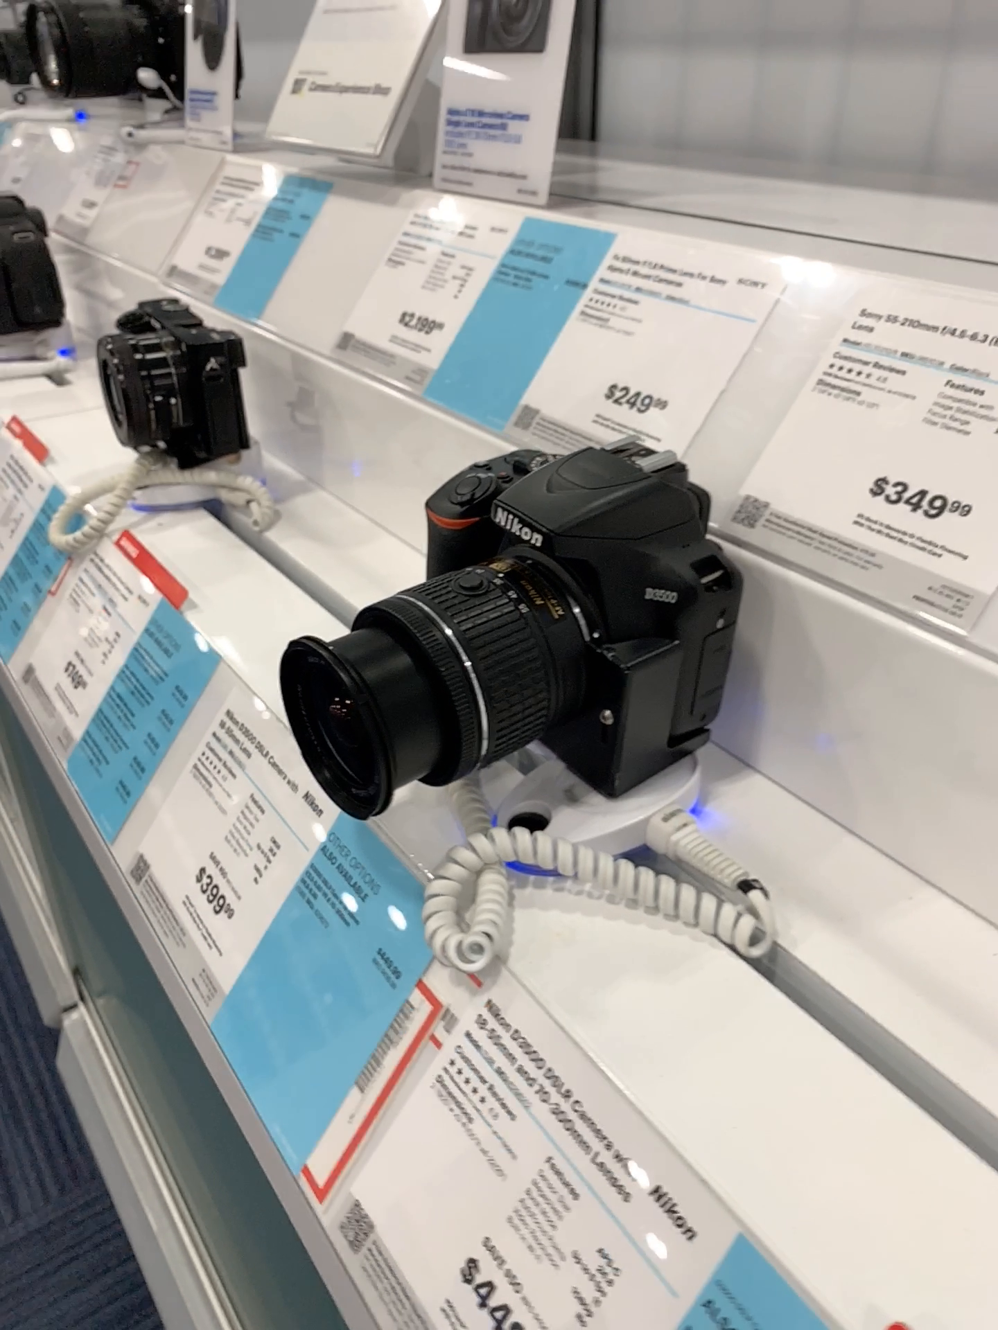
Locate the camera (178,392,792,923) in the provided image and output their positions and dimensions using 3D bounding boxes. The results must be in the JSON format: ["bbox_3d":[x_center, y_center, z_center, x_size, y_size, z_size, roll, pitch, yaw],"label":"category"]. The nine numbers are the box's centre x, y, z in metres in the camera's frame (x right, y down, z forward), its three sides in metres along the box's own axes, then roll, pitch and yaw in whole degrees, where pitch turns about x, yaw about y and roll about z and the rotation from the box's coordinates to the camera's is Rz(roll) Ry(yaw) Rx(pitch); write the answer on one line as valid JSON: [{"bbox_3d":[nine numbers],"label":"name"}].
[{"bbox_3d":[-0.005,-0.018,0.359,0.150,0.099,0.130,-22,37,-33],"label":"camera"}]
